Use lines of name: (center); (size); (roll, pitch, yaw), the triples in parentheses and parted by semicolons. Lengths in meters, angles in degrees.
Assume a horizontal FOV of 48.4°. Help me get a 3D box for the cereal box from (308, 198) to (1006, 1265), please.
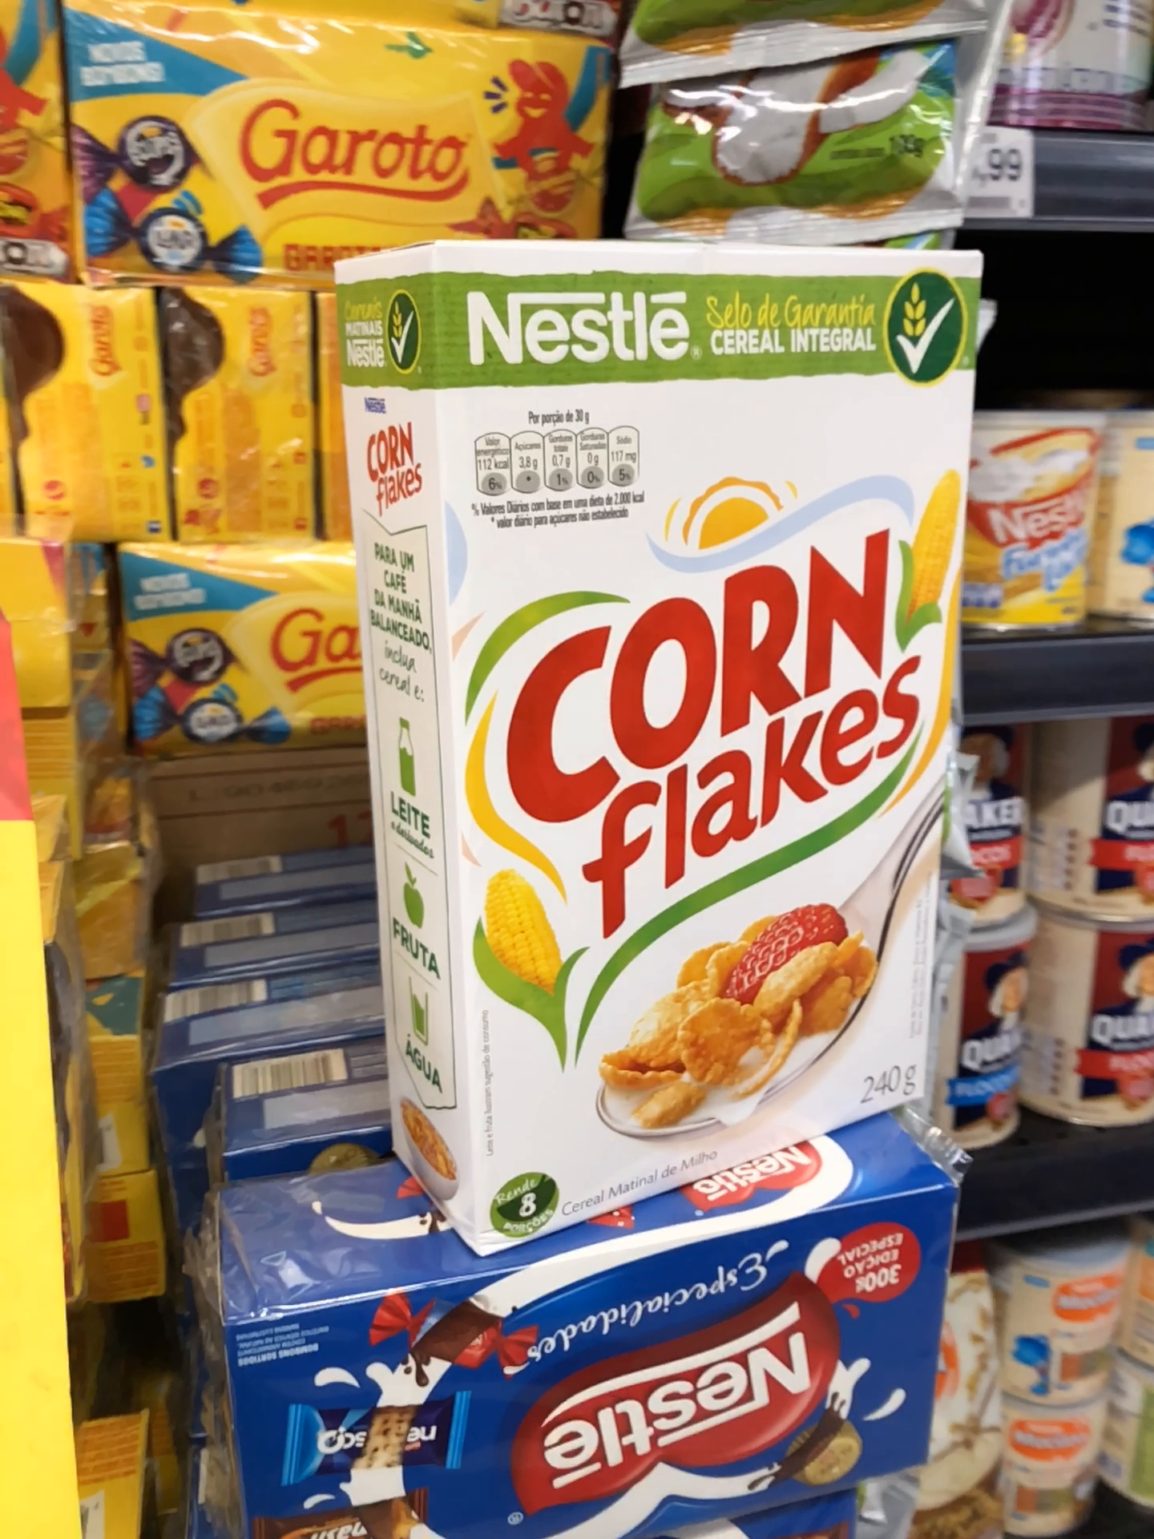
cereal box: (0.025, -0.015, 0.356); (0.170, 0.249, 0.060); (-9, 18, -29)
